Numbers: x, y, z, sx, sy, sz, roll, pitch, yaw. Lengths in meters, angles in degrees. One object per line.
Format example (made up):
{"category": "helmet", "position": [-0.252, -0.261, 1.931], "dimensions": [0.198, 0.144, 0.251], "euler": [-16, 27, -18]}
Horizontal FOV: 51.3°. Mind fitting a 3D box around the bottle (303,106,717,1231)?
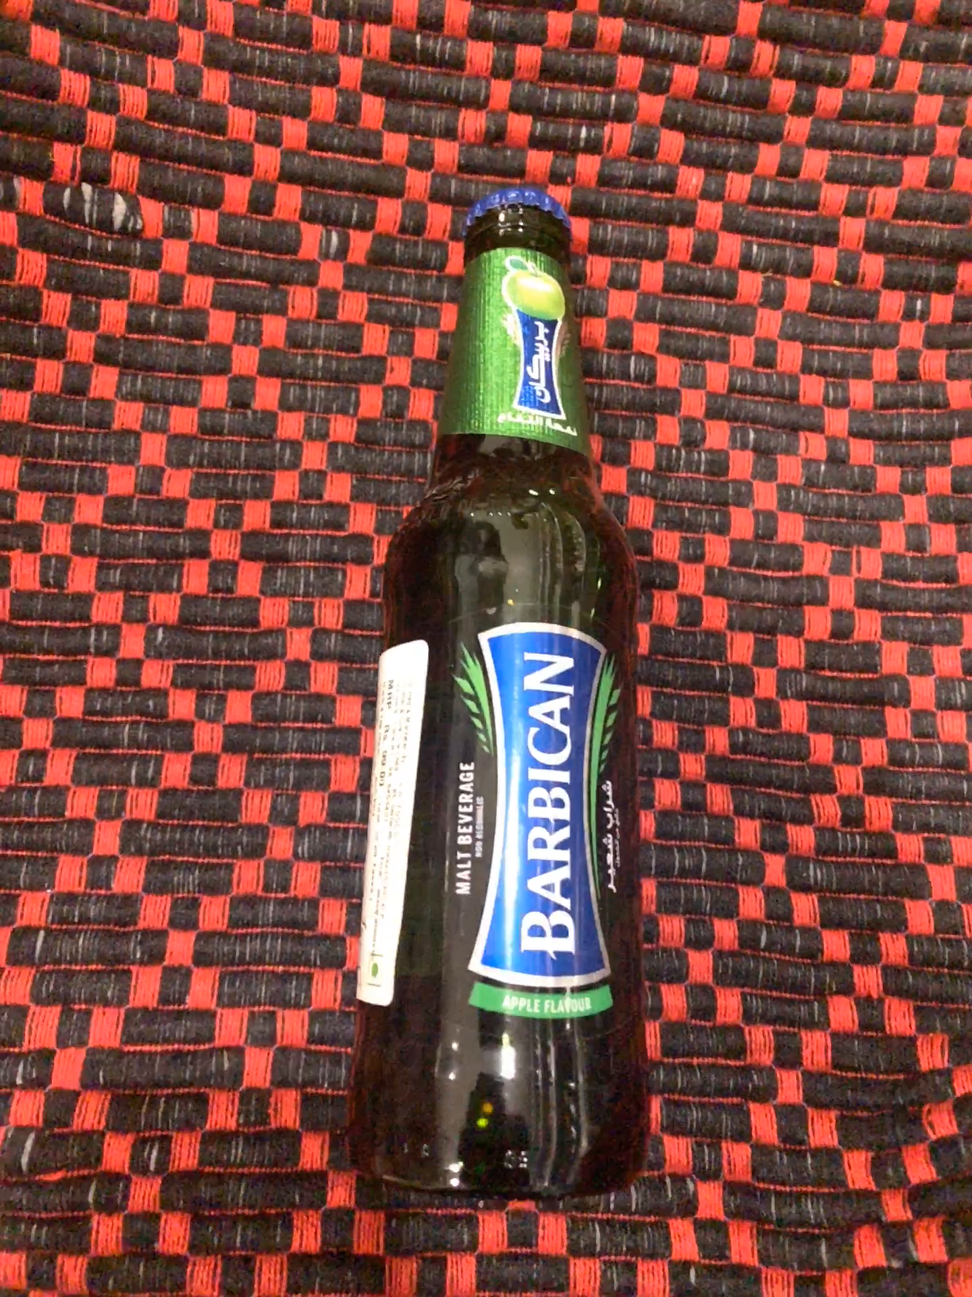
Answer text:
{"category": "bottle", "position": [0.004, -0.008, 0.231], "dimensions": [0.070, 0.050, 0.238], "euler": [3, 71, -6]}
